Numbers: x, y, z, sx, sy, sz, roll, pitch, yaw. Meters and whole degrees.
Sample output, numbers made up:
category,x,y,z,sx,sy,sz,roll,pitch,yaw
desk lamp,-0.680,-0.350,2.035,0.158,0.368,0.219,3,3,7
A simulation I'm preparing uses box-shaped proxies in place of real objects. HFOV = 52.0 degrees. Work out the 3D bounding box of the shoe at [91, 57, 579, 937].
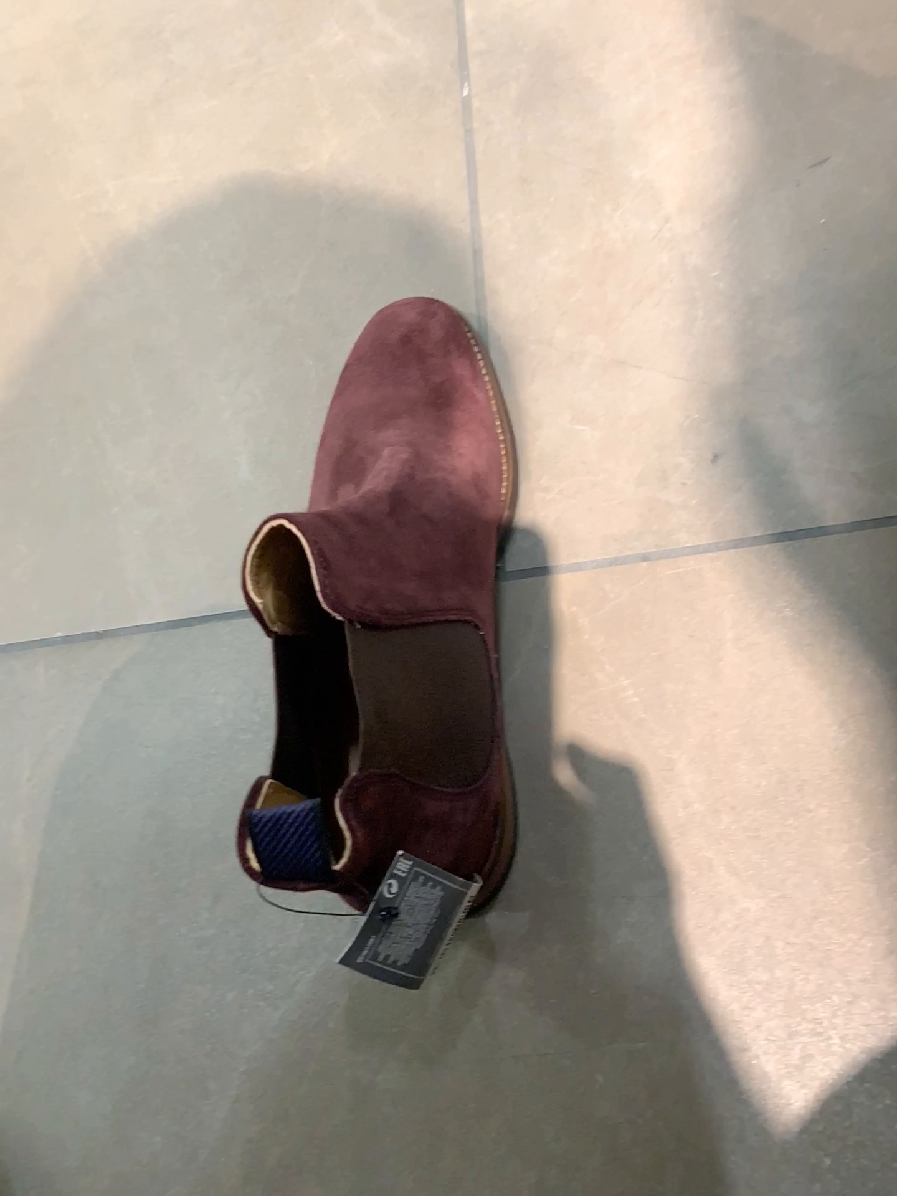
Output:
category,x,y,z,sx,sy,sz,roll,pitch,yaw
shoe,-0.034,-0.027,0.371,0.114,0.162,0.299,-10,67,13
